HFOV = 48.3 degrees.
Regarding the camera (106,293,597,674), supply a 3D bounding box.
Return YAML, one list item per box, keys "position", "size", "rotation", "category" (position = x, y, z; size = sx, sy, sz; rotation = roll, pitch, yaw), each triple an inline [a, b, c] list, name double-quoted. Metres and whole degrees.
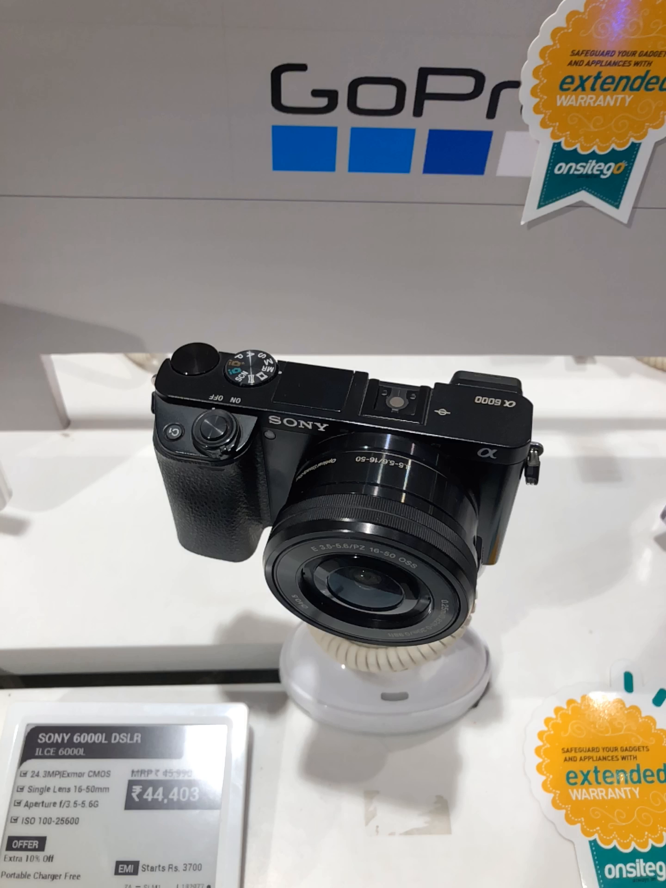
- position: [0.006, 0.011, 0.210]
  size: [0.110, 0.070, 0.060]
  rotation: [9, 48, 5]
  category: "camera"
